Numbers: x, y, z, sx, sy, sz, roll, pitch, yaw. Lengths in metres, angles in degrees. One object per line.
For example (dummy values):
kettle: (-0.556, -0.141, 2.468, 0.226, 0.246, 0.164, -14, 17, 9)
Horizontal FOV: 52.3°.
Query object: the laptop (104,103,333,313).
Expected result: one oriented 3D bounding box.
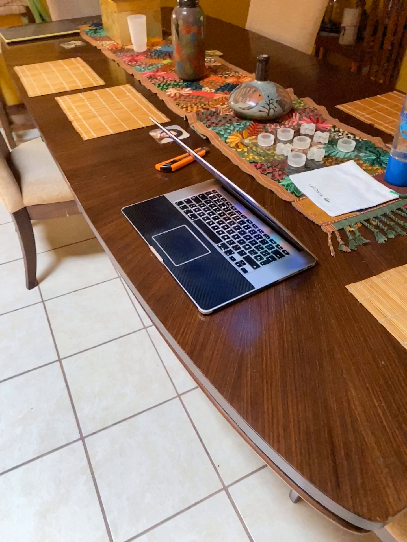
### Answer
laptop: (0.007, -0.142, 0.769, 0.236, 0.181, 0.356, -22, 46, -22)
